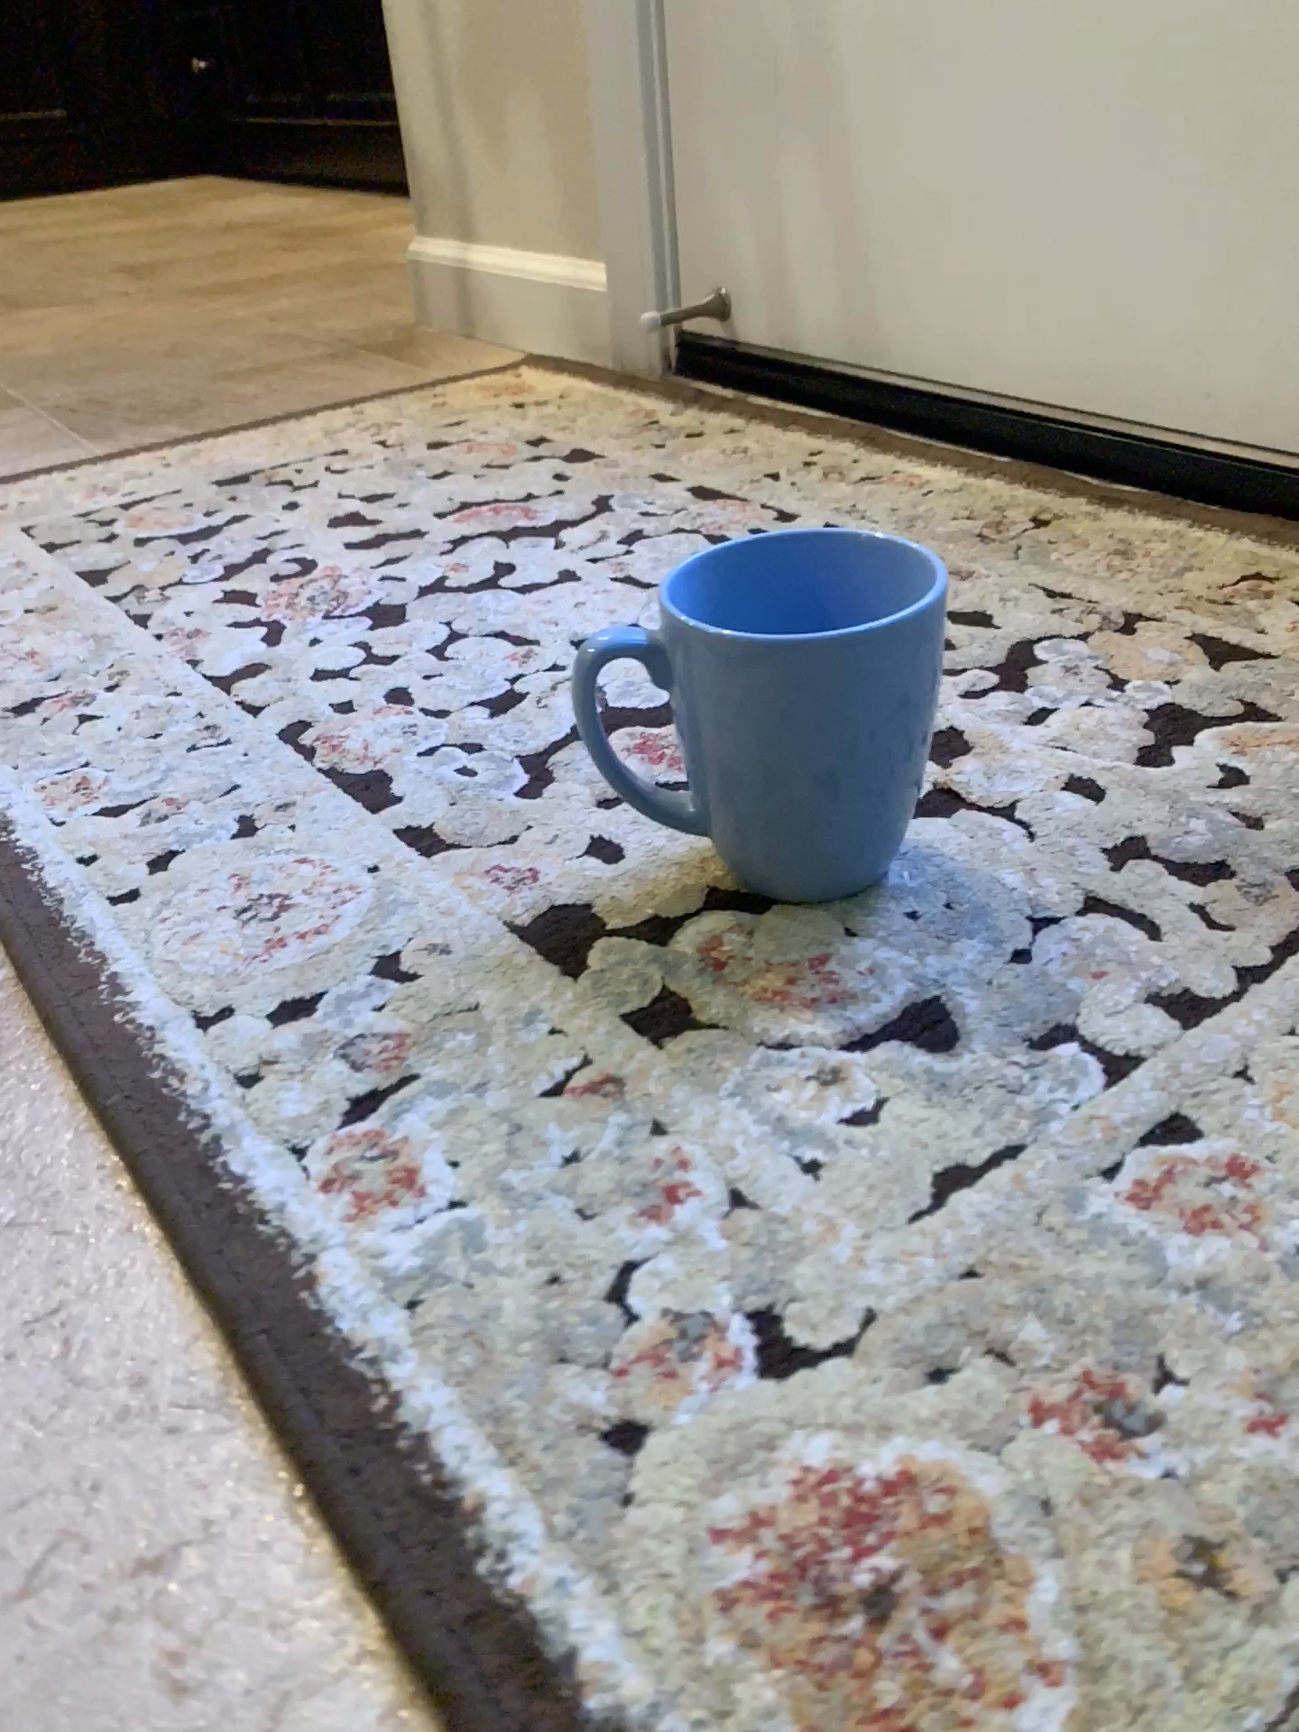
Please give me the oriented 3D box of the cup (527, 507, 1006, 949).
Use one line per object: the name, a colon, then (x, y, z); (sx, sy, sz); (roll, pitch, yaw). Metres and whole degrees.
cup: (0.032, -0.047, 0.415); (0.120, 0.089, 0.091); (-10, 32, -8)
